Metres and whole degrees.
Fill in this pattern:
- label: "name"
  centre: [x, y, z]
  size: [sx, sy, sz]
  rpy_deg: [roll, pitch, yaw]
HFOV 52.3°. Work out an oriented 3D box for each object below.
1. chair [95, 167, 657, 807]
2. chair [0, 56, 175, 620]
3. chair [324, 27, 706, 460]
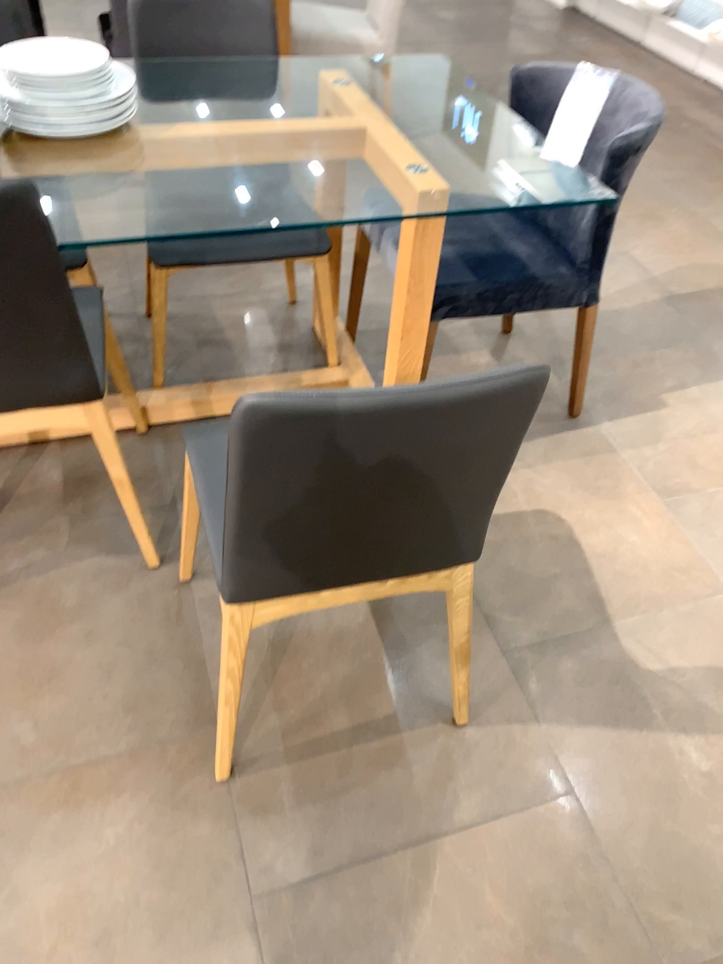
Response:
- label: "chair"
  centre: [-0.055, 0.023, 1.185]
  size: [0.563, 0.813, 0.541]
  rpy_deg: [-8, 46, -14]
- label: "chair"
  centre: [-0.692, -0.246, 1.365]
  size: [0.523, 0.833, 0.500]
  rpy_deg: [-10, 47, -16]
- label: "chair"
  centre: [0.292, -0.594, 1.847]
  size: [0.587, 0.813, 0.546]
  rpy_deg: [-14, 48, -19]
